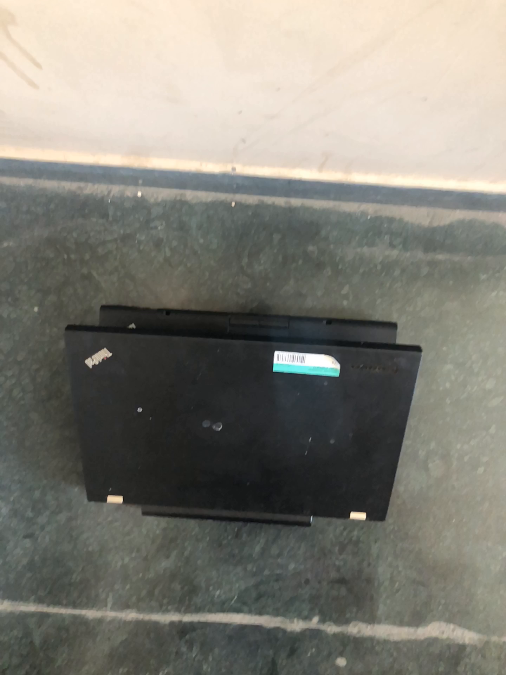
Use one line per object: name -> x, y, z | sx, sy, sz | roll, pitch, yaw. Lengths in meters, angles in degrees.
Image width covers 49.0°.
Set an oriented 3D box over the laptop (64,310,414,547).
laptop -> -0.013, 0.092, 0.620 | 0.349, 0.095, 0.227 | 3, 91, 0
